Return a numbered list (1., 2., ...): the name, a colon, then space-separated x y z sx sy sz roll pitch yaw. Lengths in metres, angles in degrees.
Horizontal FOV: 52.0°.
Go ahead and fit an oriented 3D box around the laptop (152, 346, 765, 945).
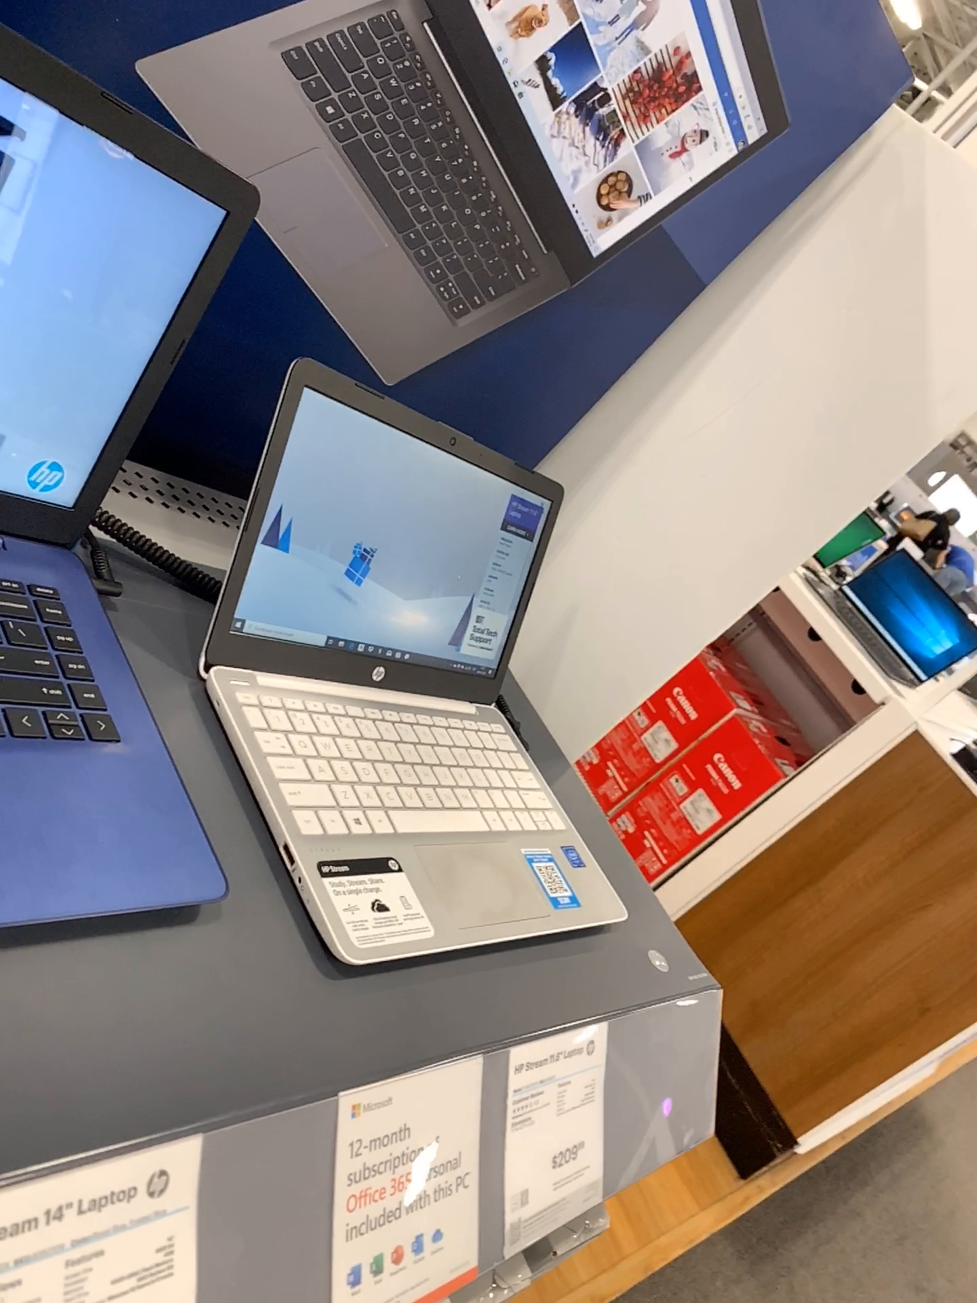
1. laptop: -0.012 0.003 0.613 0.267 0.144 0.274 13 38 -55
